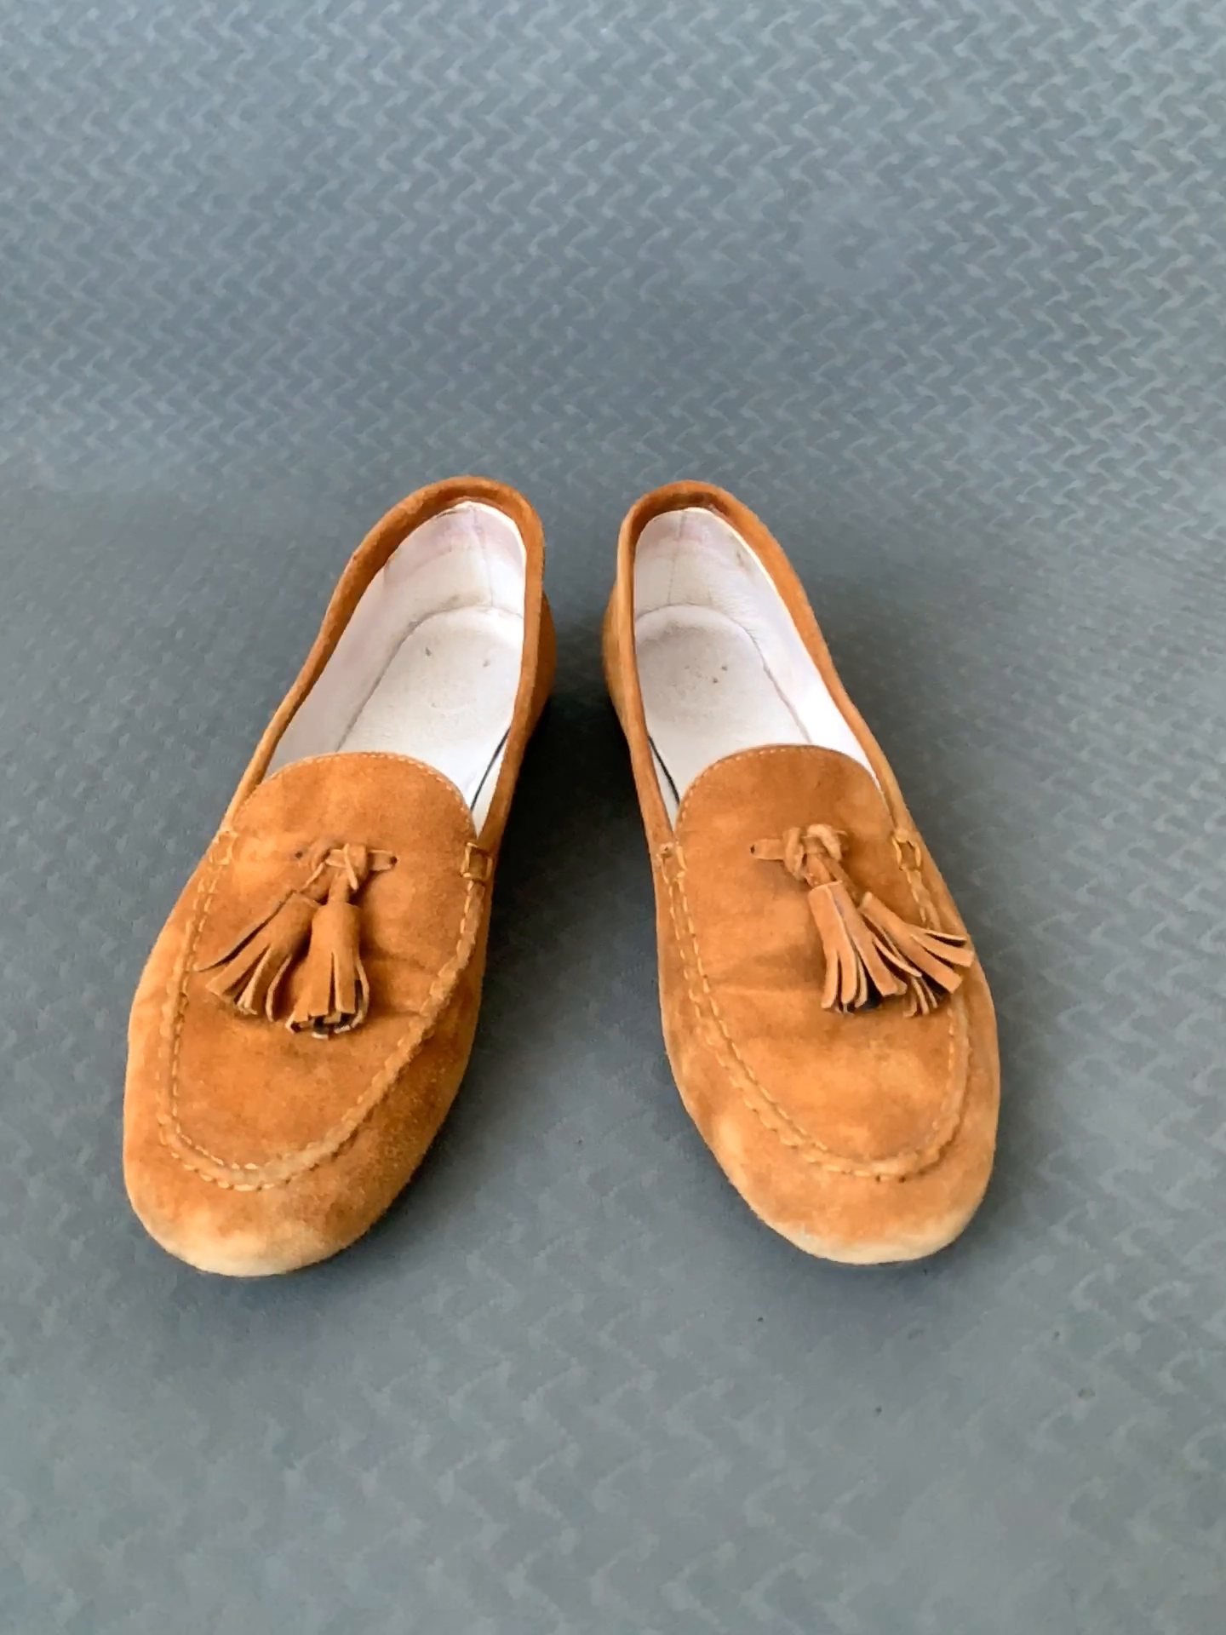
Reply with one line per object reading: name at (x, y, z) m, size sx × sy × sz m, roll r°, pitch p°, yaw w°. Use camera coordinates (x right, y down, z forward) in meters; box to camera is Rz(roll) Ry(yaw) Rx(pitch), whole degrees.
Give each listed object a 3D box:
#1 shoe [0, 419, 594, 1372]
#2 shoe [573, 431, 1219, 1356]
shoe at (-0.070, 0.000, 0.321) m, size 0.090 × 0.090 × 0.231 m, roll 8°, pitch 46°, yaw 6°
shoe at (0.047, 0.000, 0.337) m, size 0.090 × 0.090 × 0.241 m, roll -4°, pitch 46°, yaw -6°
